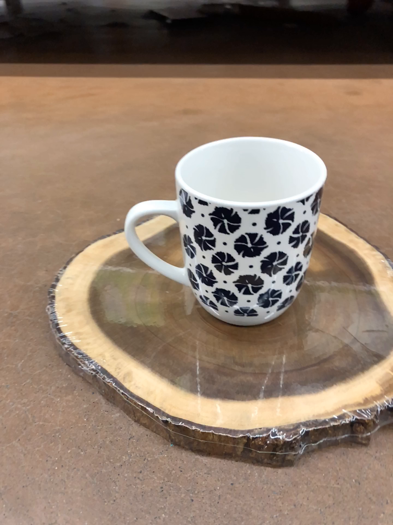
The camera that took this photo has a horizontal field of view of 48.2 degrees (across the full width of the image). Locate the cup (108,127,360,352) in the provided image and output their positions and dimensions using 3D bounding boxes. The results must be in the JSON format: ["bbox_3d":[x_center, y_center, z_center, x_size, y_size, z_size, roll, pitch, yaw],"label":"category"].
[{"bbox_3d":[0.016,-0.018,0.288,0.130,0.100,0.090,-7,38,-6],"label":"cup"}]
